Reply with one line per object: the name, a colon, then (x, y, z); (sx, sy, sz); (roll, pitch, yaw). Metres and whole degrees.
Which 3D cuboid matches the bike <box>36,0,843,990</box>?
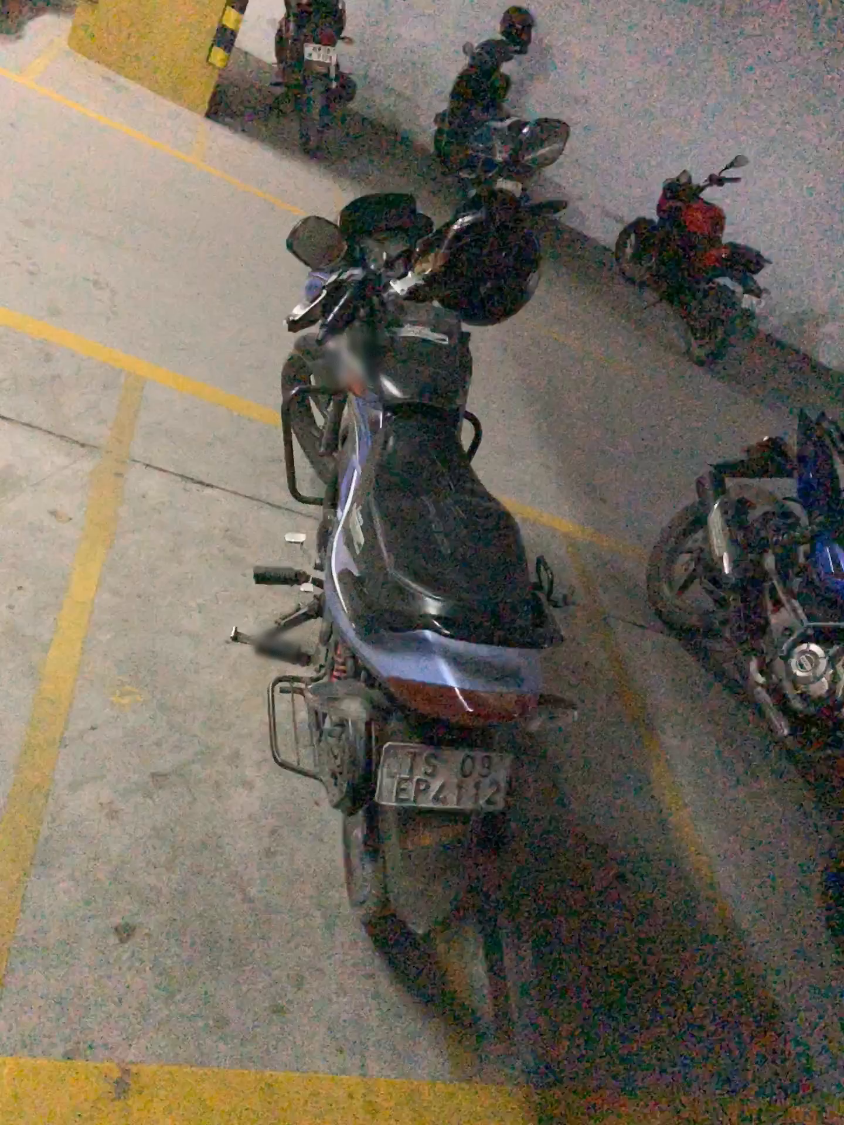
bike: (-0.212, -0.245, 1.808); (0.782, 1.108, 1.705); (14, 36, -28)
